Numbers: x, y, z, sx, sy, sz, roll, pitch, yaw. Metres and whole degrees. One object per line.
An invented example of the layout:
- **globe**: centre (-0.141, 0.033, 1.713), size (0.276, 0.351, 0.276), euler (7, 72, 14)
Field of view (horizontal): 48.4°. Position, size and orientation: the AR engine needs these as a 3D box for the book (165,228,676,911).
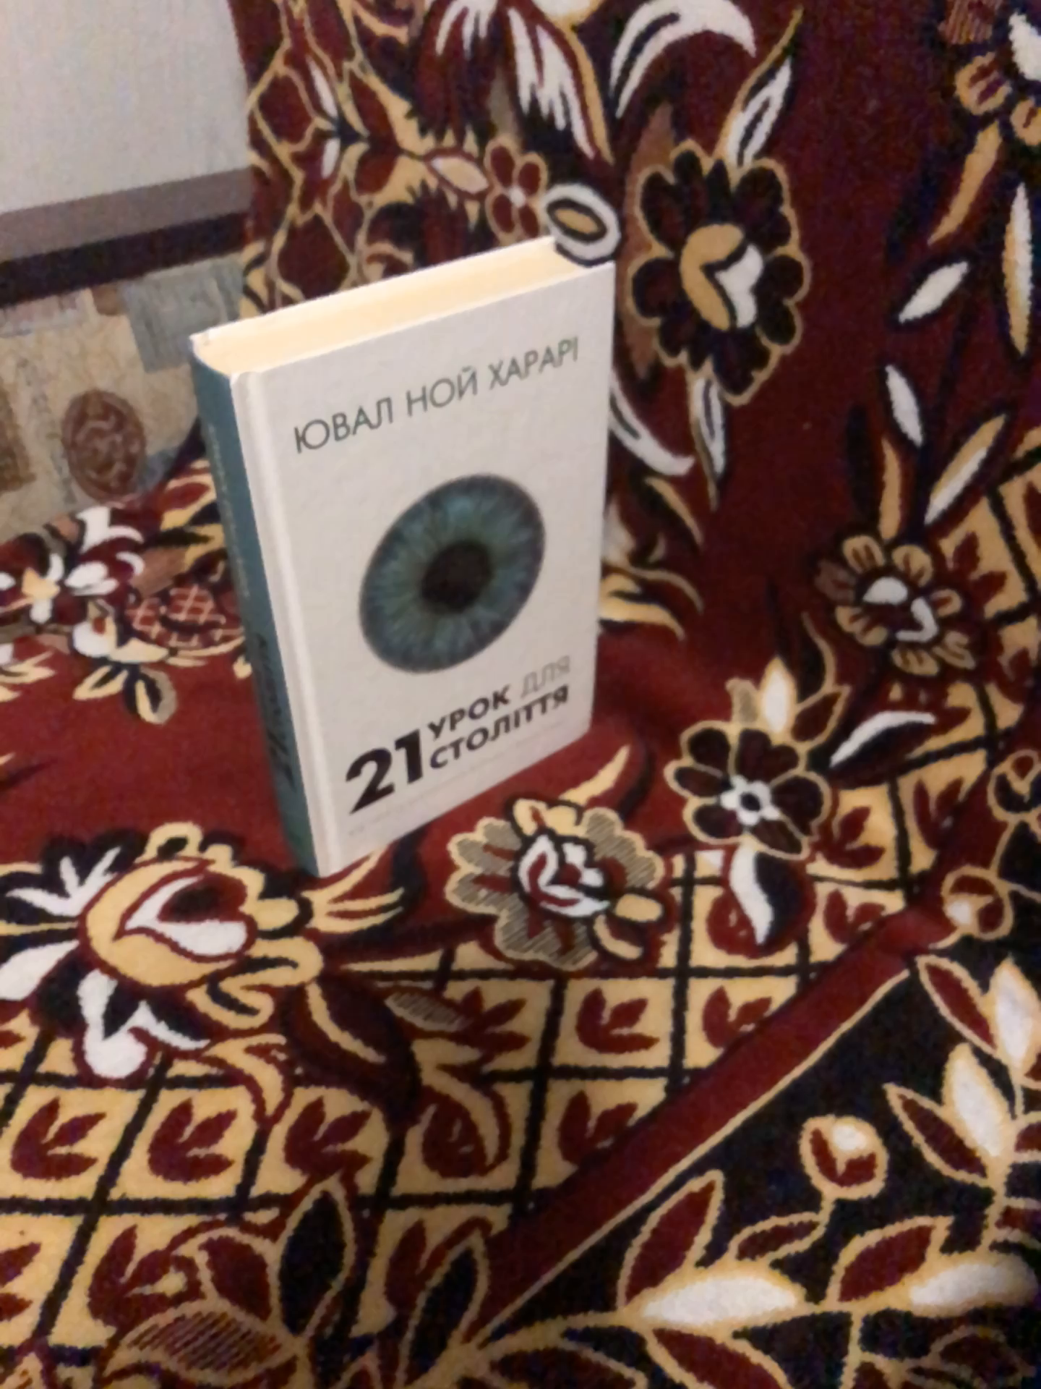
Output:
- **book**: centre (-0.027, -0.039, 0.413), size (0.153, 0.211, 0.040), euler (-23, 45, -27)
